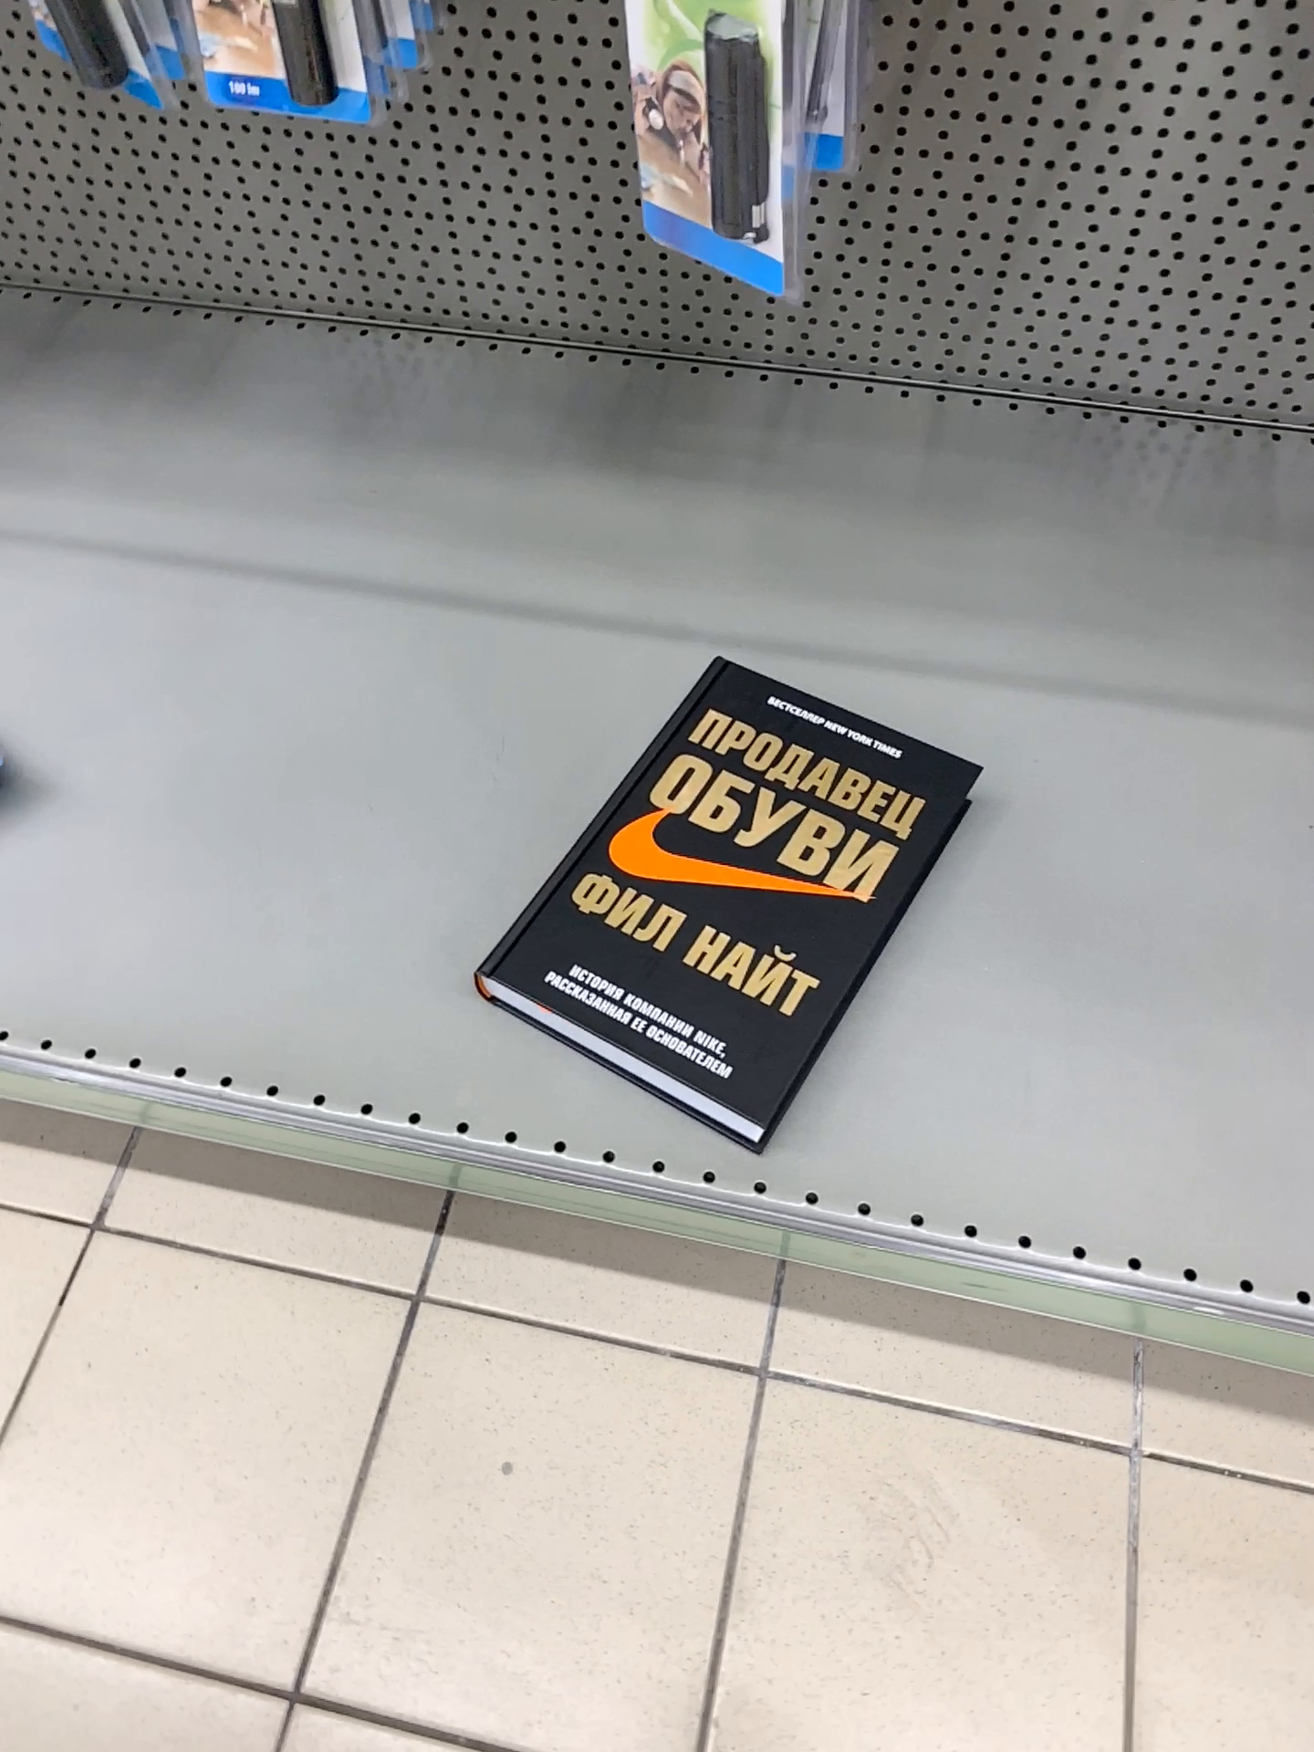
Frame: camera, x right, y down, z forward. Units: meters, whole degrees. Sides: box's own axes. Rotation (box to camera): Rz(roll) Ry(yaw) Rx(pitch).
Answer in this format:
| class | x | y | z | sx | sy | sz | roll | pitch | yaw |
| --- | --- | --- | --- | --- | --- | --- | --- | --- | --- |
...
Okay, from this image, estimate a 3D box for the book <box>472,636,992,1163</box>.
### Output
| class | x | y | z | sx | sy | sz | roll | pitch | yaw |
| --- | --- | --- | --- | --- | --- | --- | --- | --- | --- |
| book | 0.045 | 0.001 | 0.715 | 0.166 | 0.049 | 0.250 | 27 | 62 | 18 |
